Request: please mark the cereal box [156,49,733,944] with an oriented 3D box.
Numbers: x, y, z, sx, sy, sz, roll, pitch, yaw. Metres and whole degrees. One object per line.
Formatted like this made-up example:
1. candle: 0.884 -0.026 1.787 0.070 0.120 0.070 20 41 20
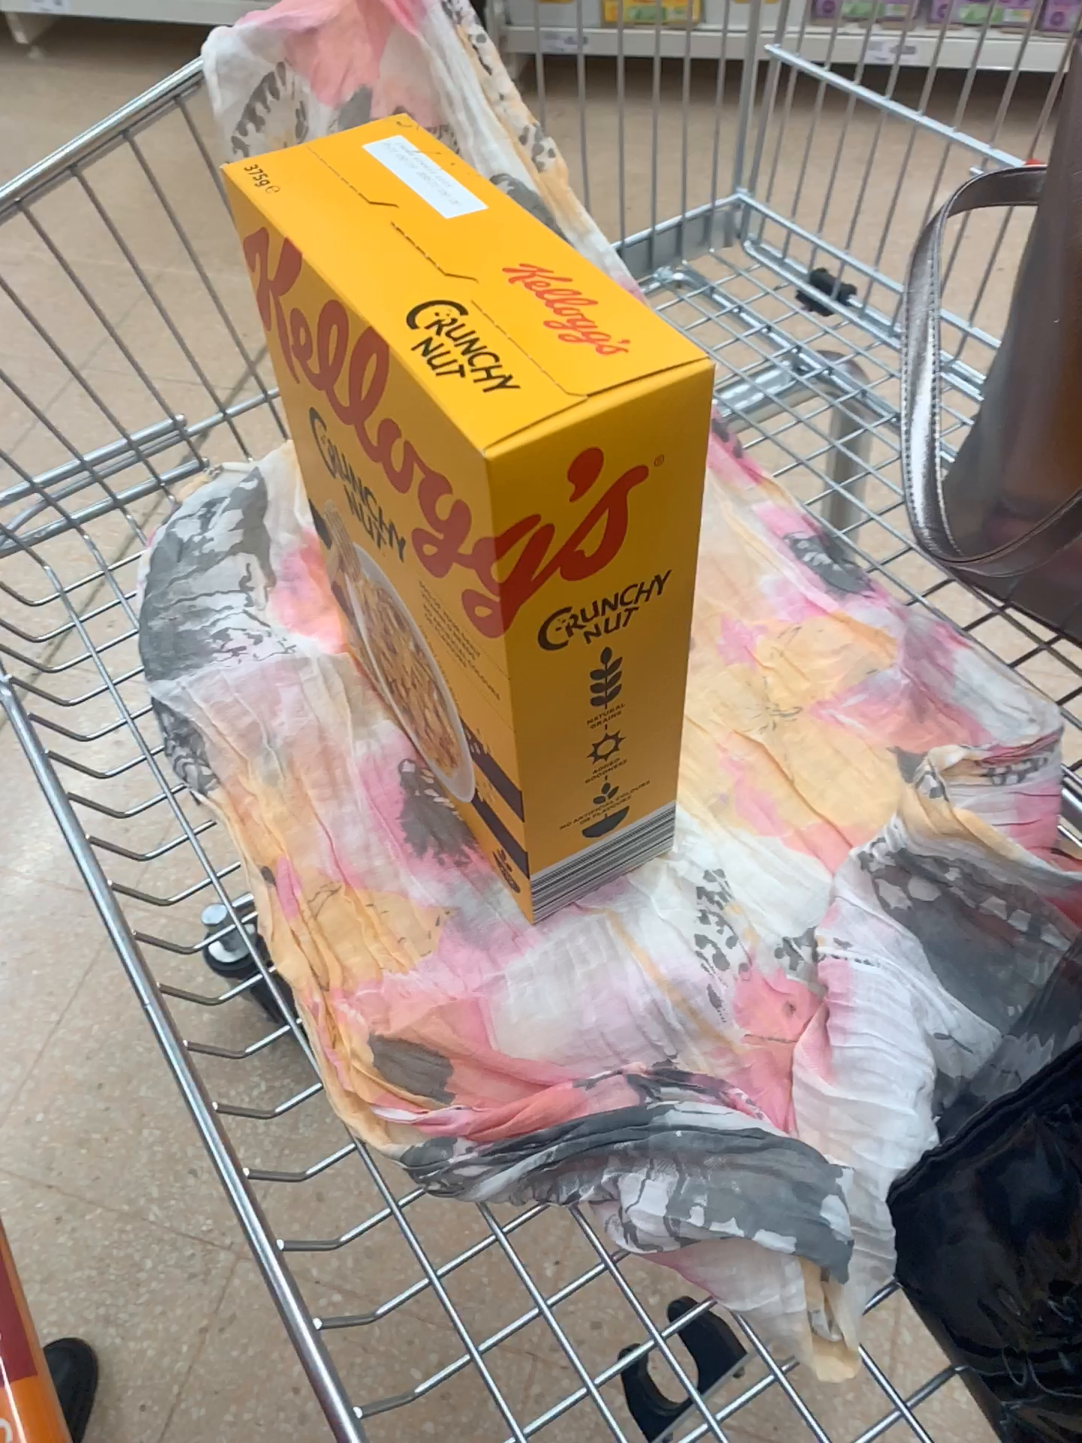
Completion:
1. cereal box: -0.033 -0.075 0.426 0.080 0.258 0.212 -27 55 -17
